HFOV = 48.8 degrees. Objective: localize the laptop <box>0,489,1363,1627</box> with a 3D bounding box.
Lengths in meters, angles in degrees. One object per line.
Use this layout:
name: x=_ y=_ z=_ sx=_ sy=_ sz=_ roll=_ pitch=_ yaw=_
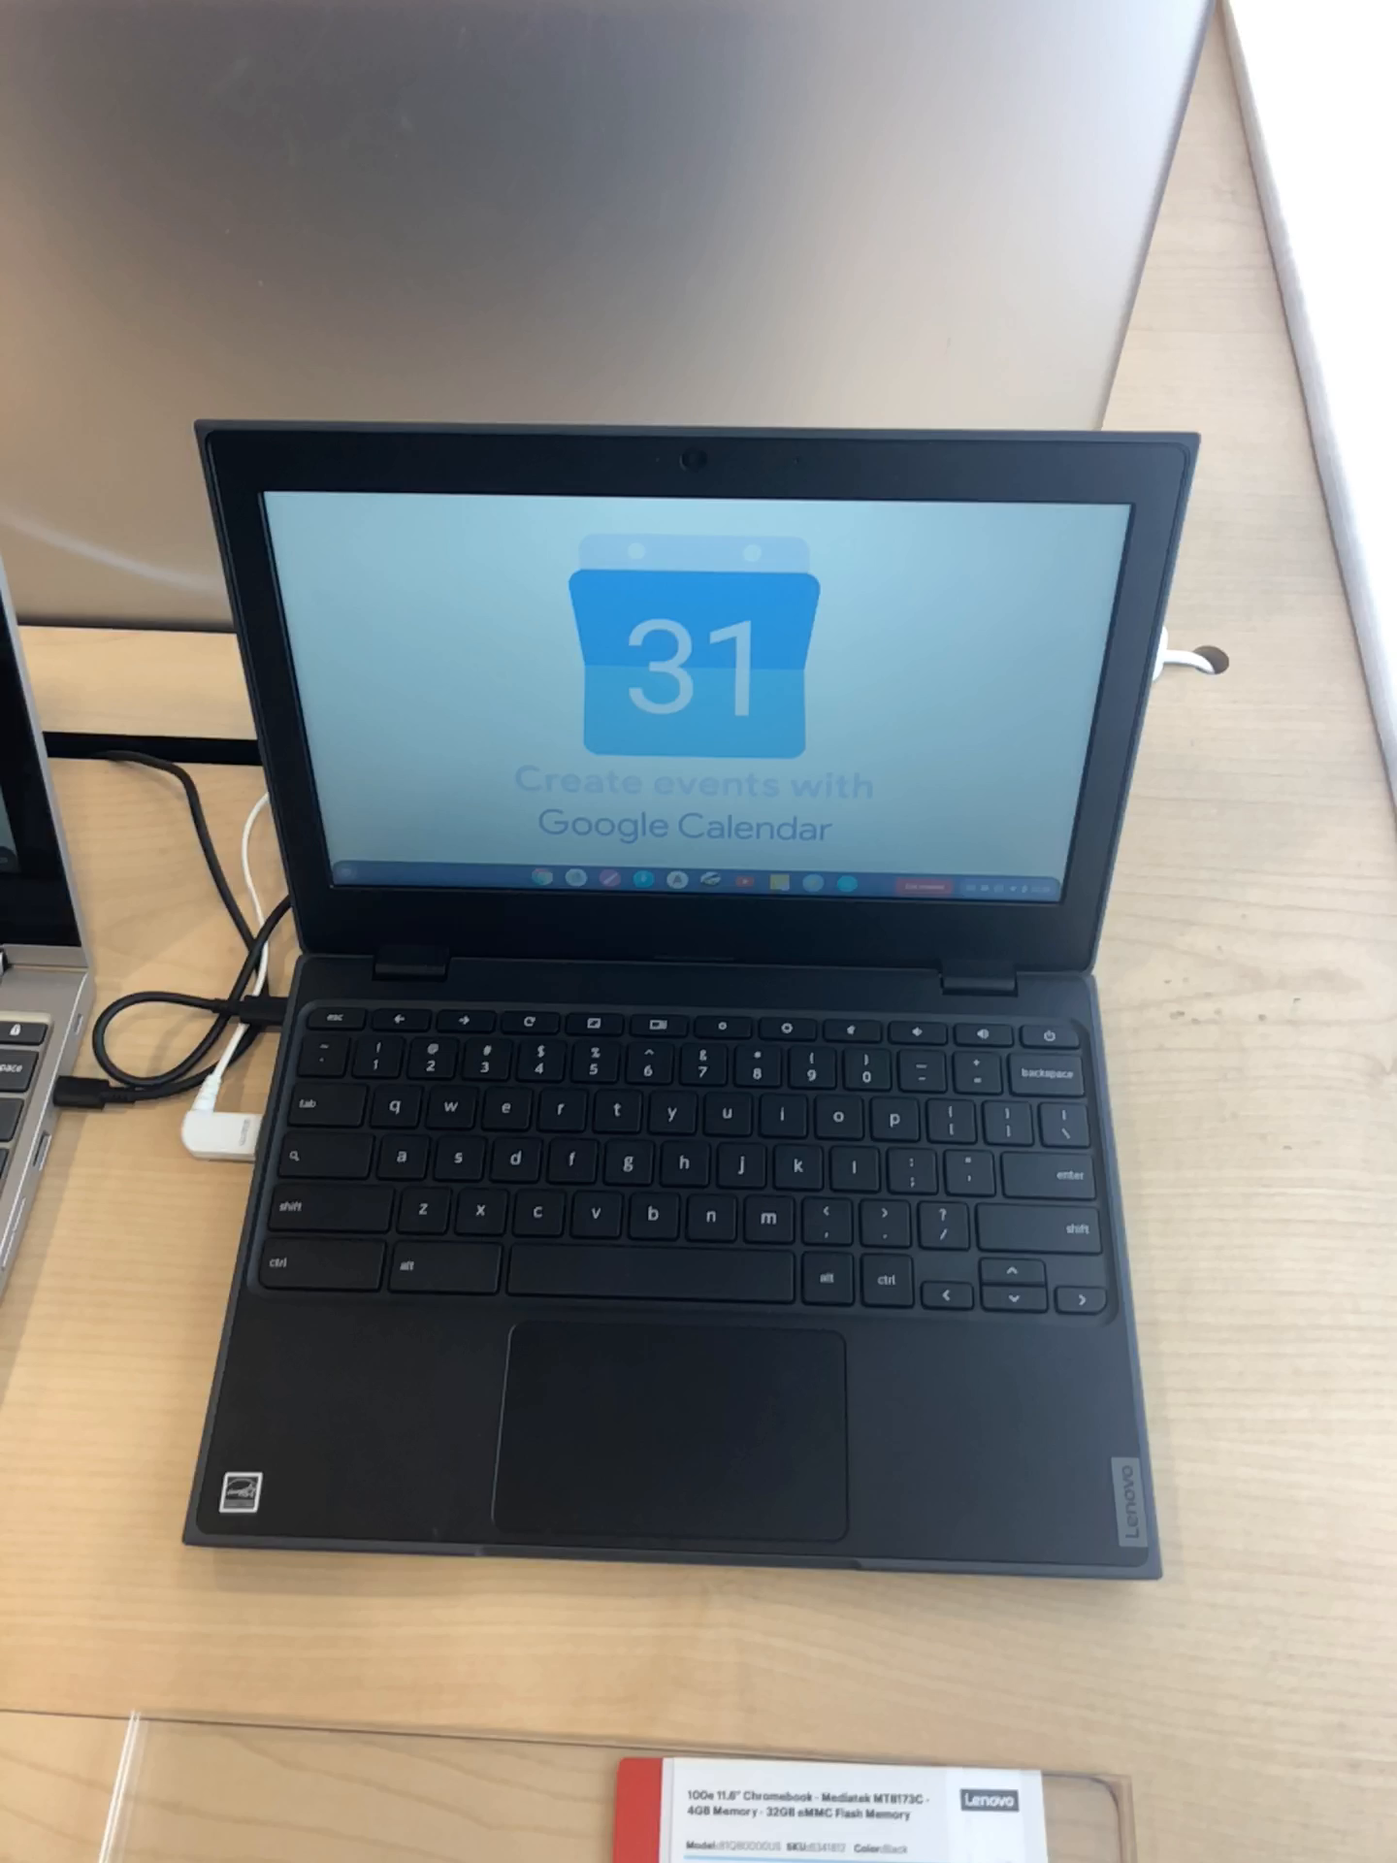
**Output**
laptop: x=-0.005 y=0.038 z=0.442 sx=0.281 sy=0.179 sz=0.271 roll=1 pitch=57 yaw=2
